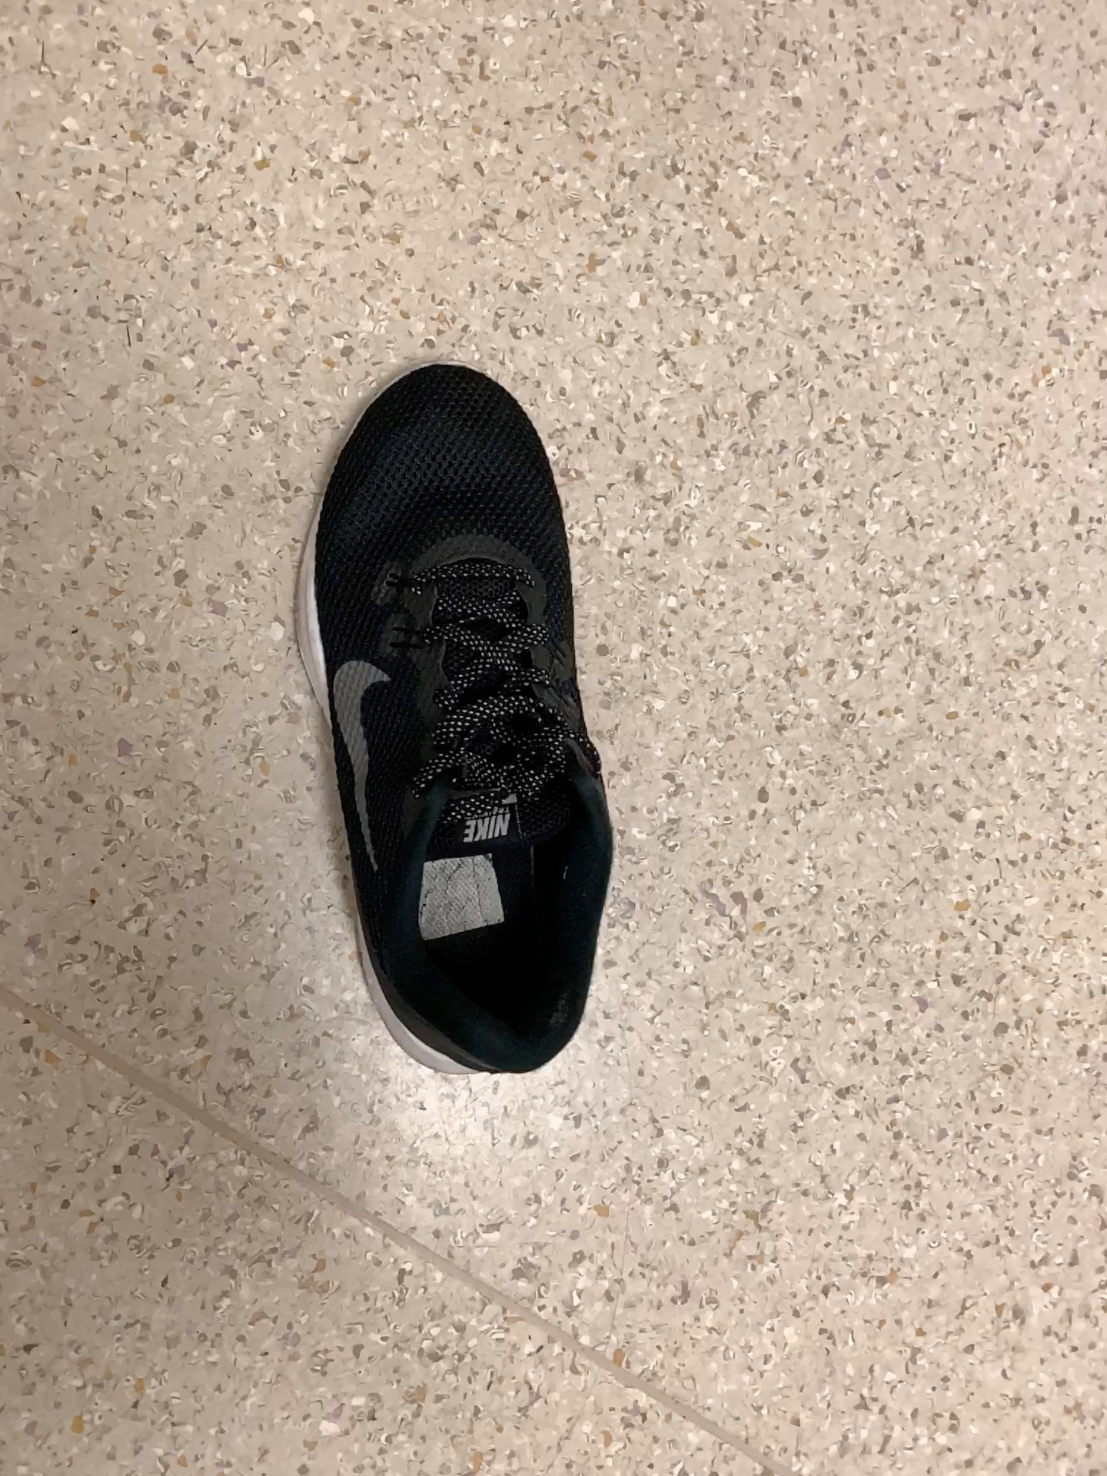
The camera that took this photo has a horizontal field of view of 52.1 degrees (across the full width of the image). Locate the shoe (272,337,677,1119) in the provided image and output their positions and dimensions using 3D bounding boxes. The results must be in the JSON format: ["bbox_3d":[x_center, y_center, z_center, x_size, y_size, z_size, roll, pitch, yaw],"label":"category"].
[{"bbox_3d":[-0.035,-0.007,0.423,0.113,0.094,0.252,-5,88,-13],"label":"shoe"}]
